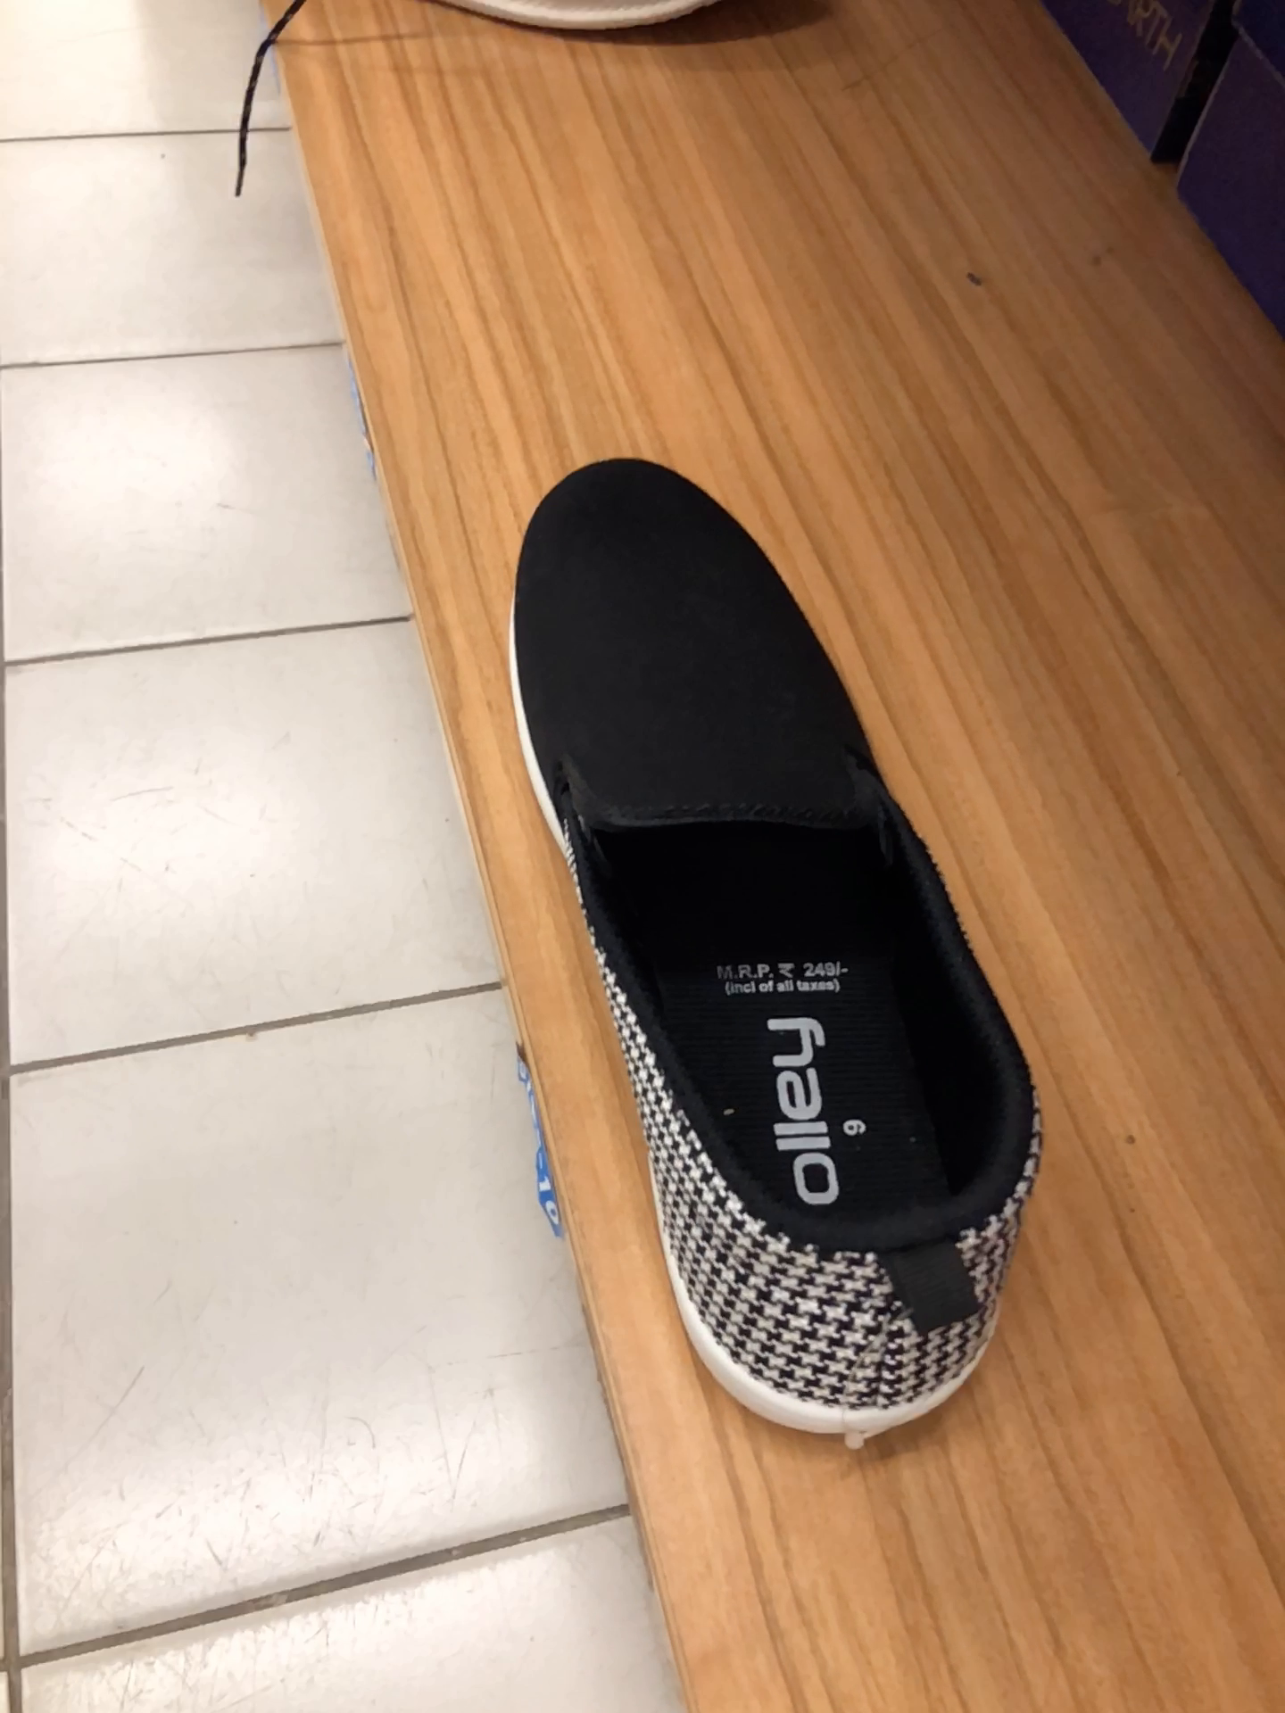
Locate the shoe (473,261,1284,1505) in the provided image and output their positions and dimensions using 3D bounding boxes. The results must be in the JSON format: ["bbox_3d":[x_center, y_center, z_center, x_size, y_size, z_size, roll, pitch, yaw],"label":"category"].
[{"bbox_3d":[0.031,-0.013,0.350,0.100,0.090,0.291,-8,59,-12],"label":"shoe"}]
